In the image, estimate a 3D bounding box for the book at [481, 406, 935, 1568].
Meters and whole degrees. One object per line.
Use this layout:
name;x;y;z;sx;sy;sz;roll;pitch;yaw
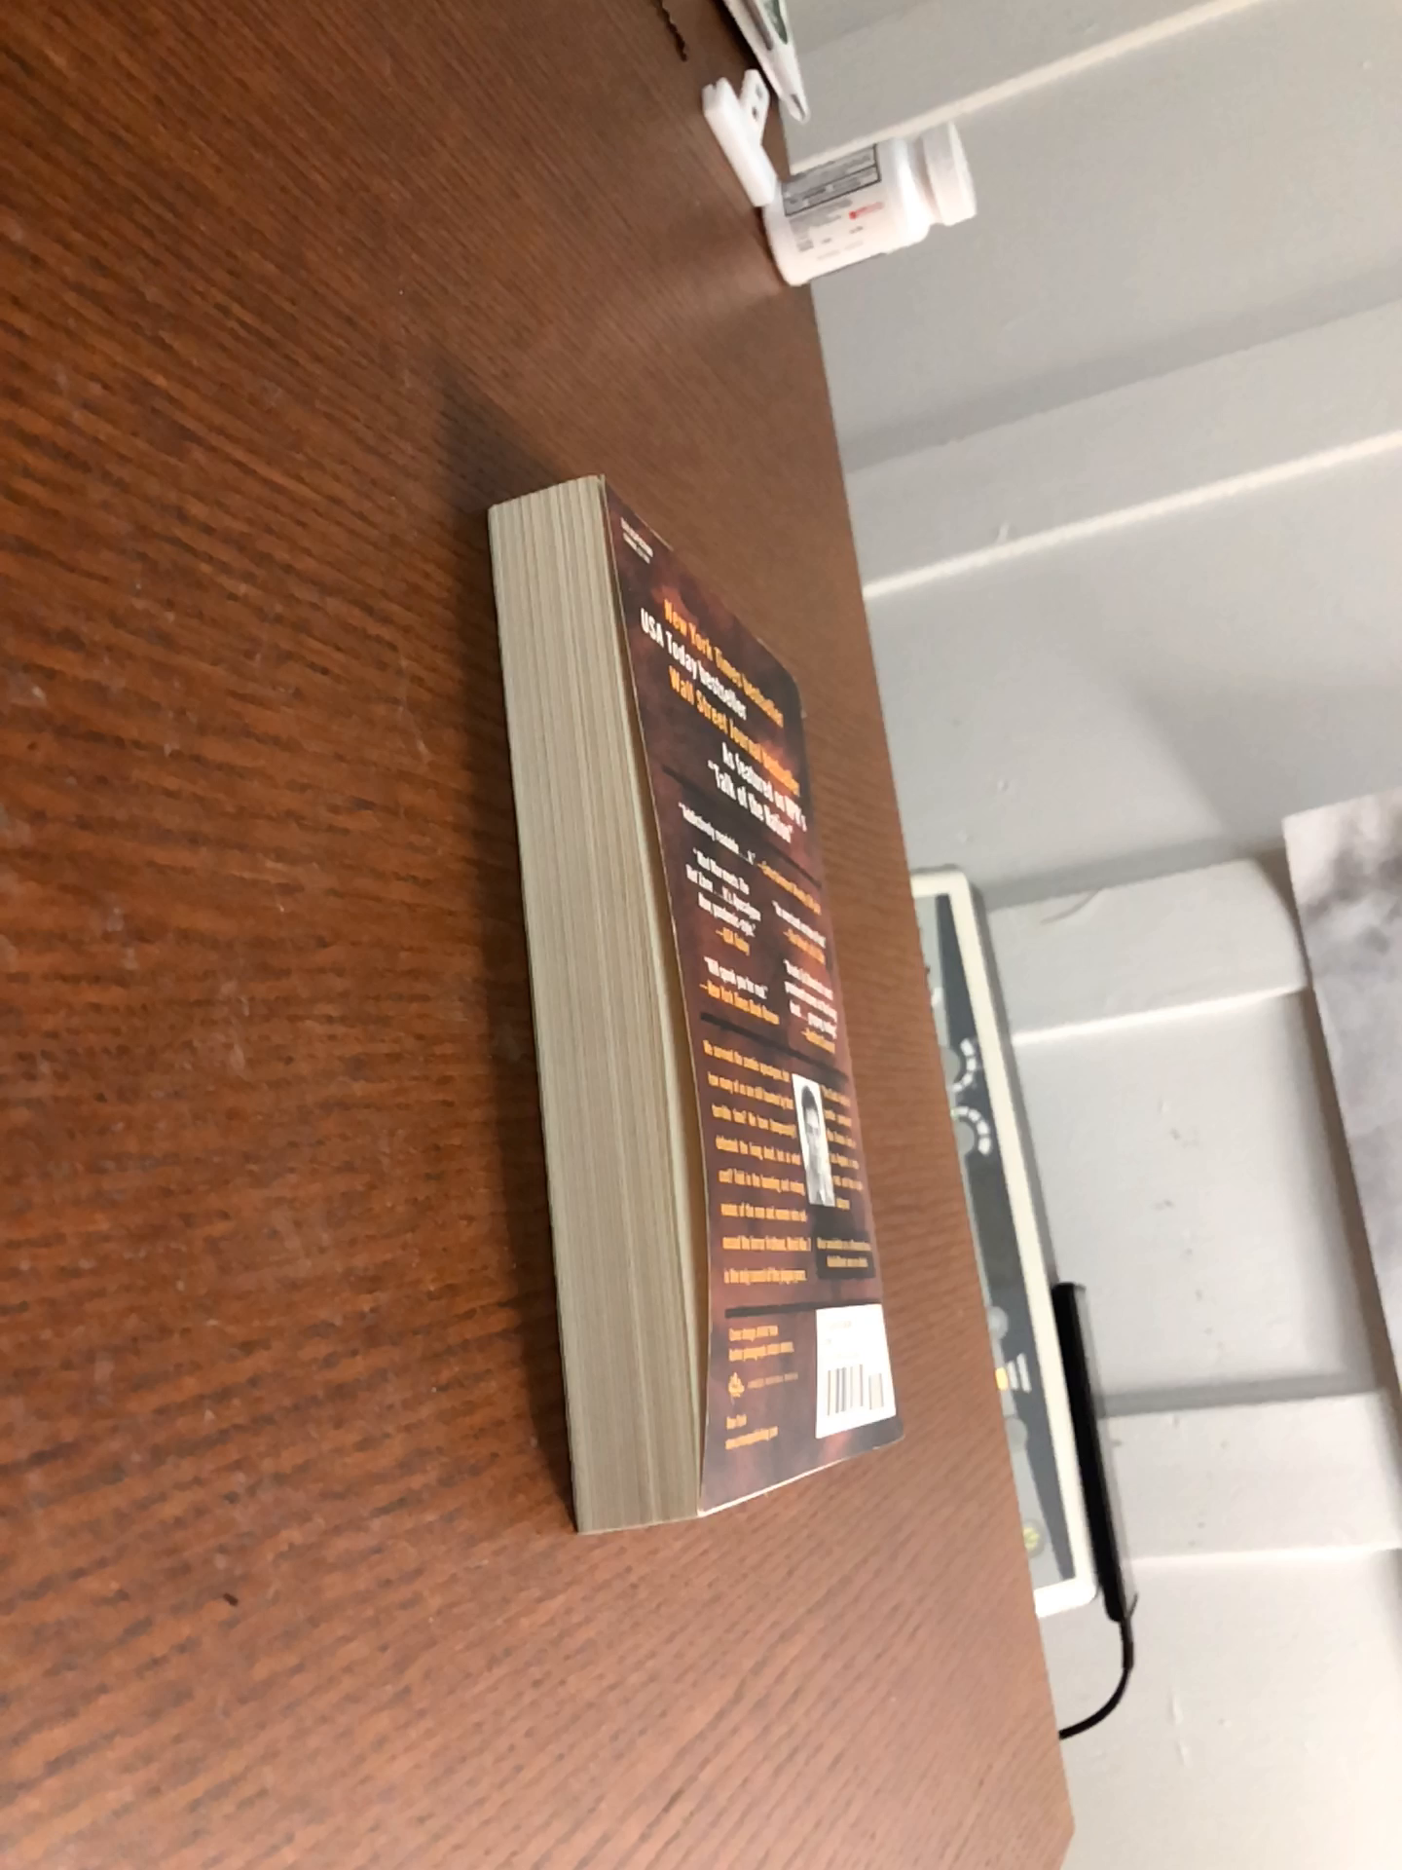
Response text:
book;0.006;0.015;0.355;0.141;0.030;0.220;28;53;-64
